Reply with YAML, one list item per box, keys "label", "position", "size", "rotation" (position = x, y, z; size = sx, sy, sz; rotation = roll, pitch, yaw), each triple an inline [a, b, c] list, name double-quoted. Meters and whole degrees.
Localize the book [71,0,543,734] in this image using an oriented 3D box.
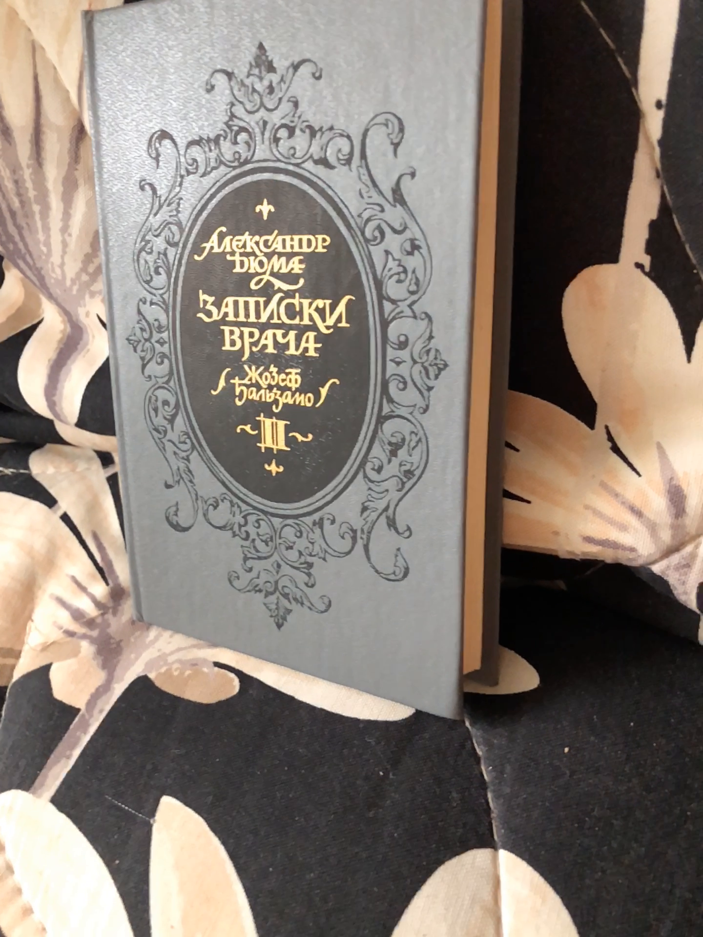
- label: "book"
  position: [-0.020, -0.036, 0.251]
  size: [0.140, 0.030, 0.210]
  rotation: [9, 107, 28]
